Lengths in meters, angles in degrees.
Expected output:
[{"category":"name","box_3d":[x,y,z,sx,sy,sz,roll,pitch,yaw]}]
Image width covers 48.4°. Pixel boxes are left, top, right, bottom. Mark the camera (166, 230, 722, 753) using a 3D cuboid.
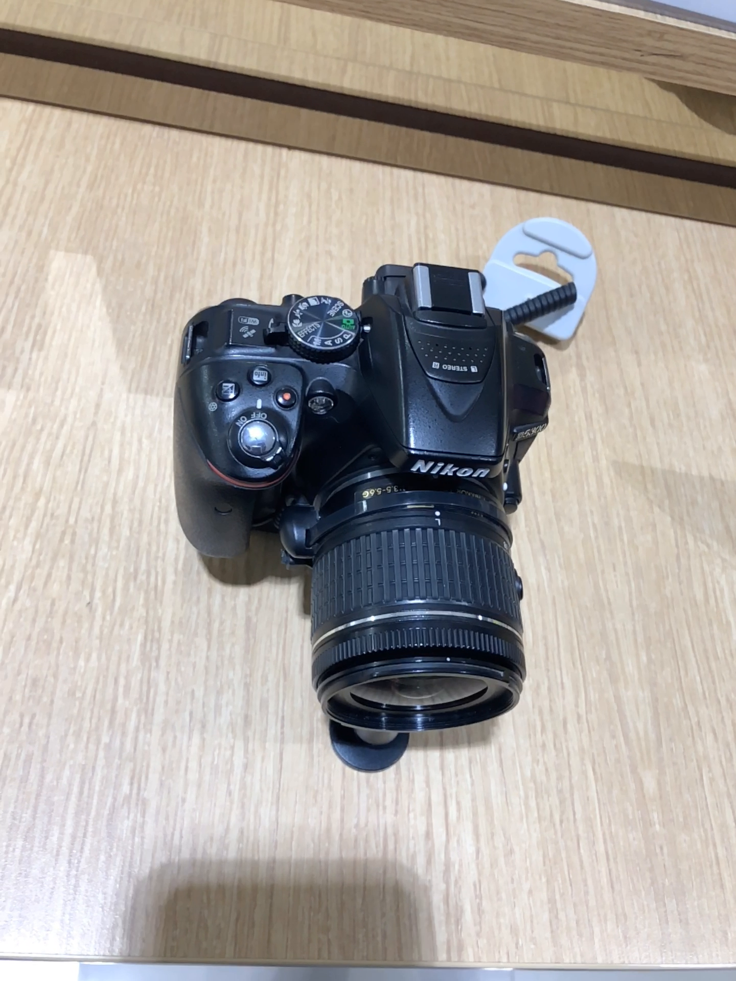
[{"category":"camera","box_3d":[0.008,0.008,0.242,0.120,0.102,0.110,4,58,-10]}]
